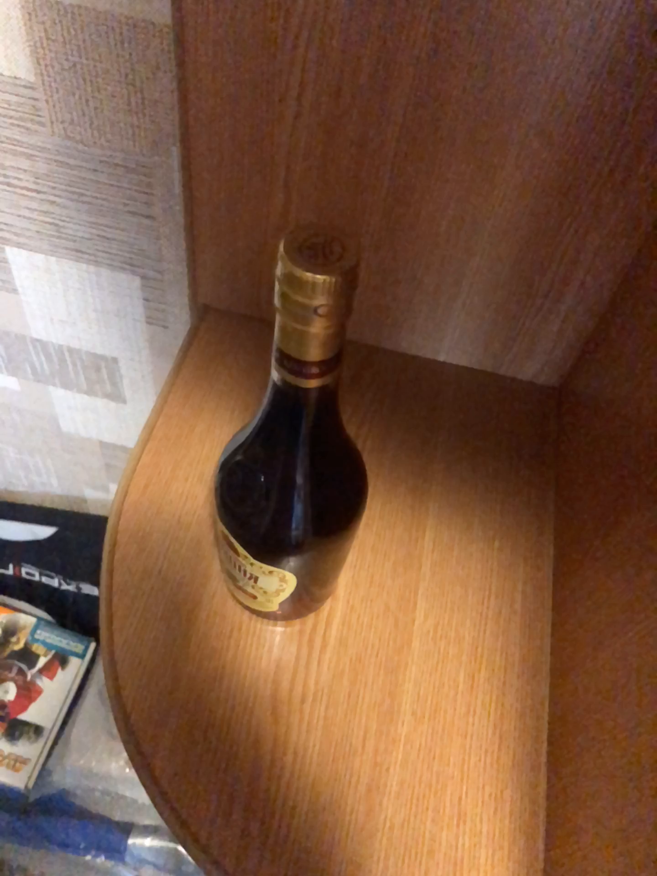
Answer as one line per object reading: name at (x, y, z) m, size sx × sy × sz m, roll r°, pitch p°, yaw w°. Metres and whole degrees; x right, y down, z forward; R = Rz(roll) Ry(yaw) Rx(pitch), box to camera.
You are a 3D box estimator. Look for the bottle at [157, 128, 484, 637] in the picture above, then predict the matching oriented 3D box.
bottle at (-0.017, -0.006, 0.357) m, size 0.080 × 0.244 × 0.090 m, roll -28°, pitch 62°, yaw -26°
